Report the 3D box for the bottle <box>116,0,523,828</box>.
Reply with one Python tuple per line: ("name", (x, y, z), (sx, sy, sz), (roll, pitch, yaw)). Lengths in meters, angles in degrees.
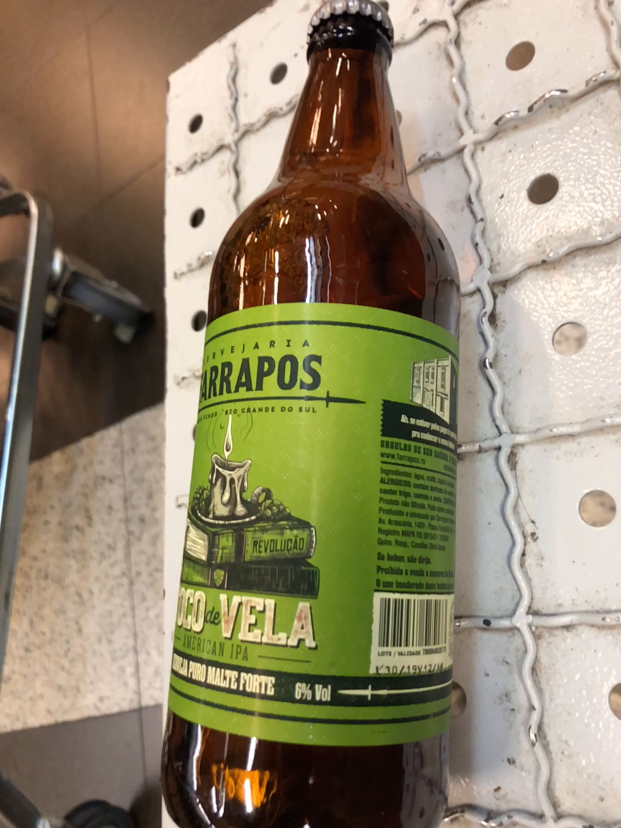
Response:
("bottle", (0.011, -0.027, 0.203), (0.080, 0.070, 0.260), (-3, 78, 33))
